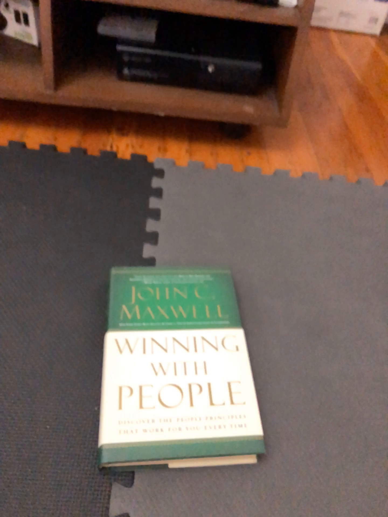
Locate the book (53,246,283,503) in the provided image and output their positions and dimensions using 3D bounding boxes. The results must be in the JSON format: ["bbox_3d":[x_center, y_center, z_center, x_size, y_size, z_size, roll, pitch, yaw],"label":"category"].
[{"bbox_3d":[-0.030,0.103,0.487,0.200,0.030,0.291,2,47,-7],"label":"book"}]
